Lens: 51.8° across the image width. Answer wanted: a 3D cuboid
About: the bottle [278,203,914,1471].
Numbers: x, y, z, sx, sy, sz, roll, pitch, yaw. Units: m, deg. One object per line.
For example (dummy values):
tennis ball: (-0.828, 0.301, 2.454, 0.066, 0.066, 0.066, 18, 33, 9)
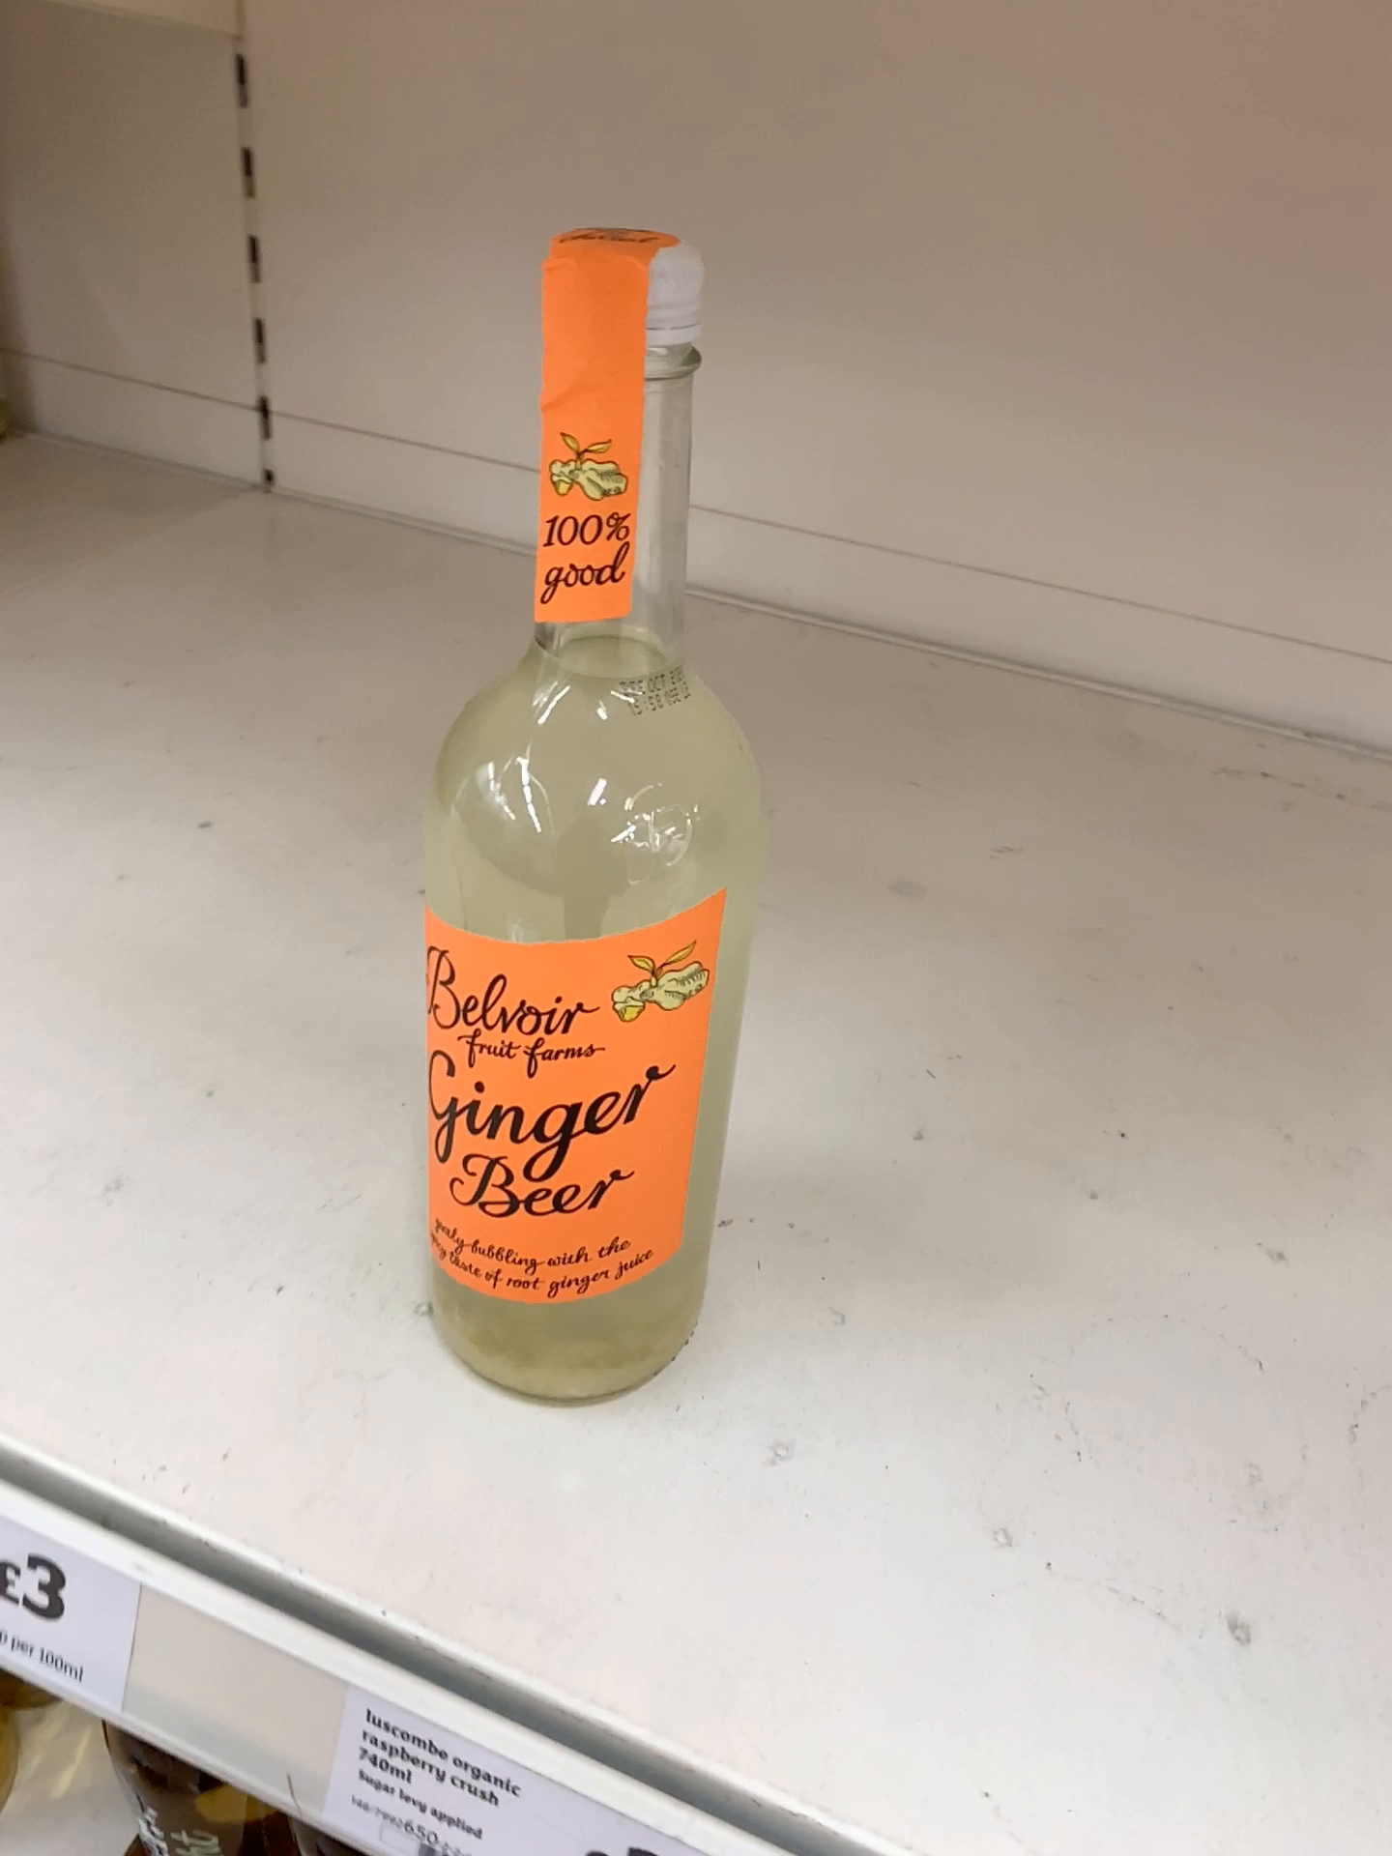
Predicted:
bottle: (-0.027, -0.010, 0.342, 0.084, 0.277, 0.091, 4, 33, -3)
